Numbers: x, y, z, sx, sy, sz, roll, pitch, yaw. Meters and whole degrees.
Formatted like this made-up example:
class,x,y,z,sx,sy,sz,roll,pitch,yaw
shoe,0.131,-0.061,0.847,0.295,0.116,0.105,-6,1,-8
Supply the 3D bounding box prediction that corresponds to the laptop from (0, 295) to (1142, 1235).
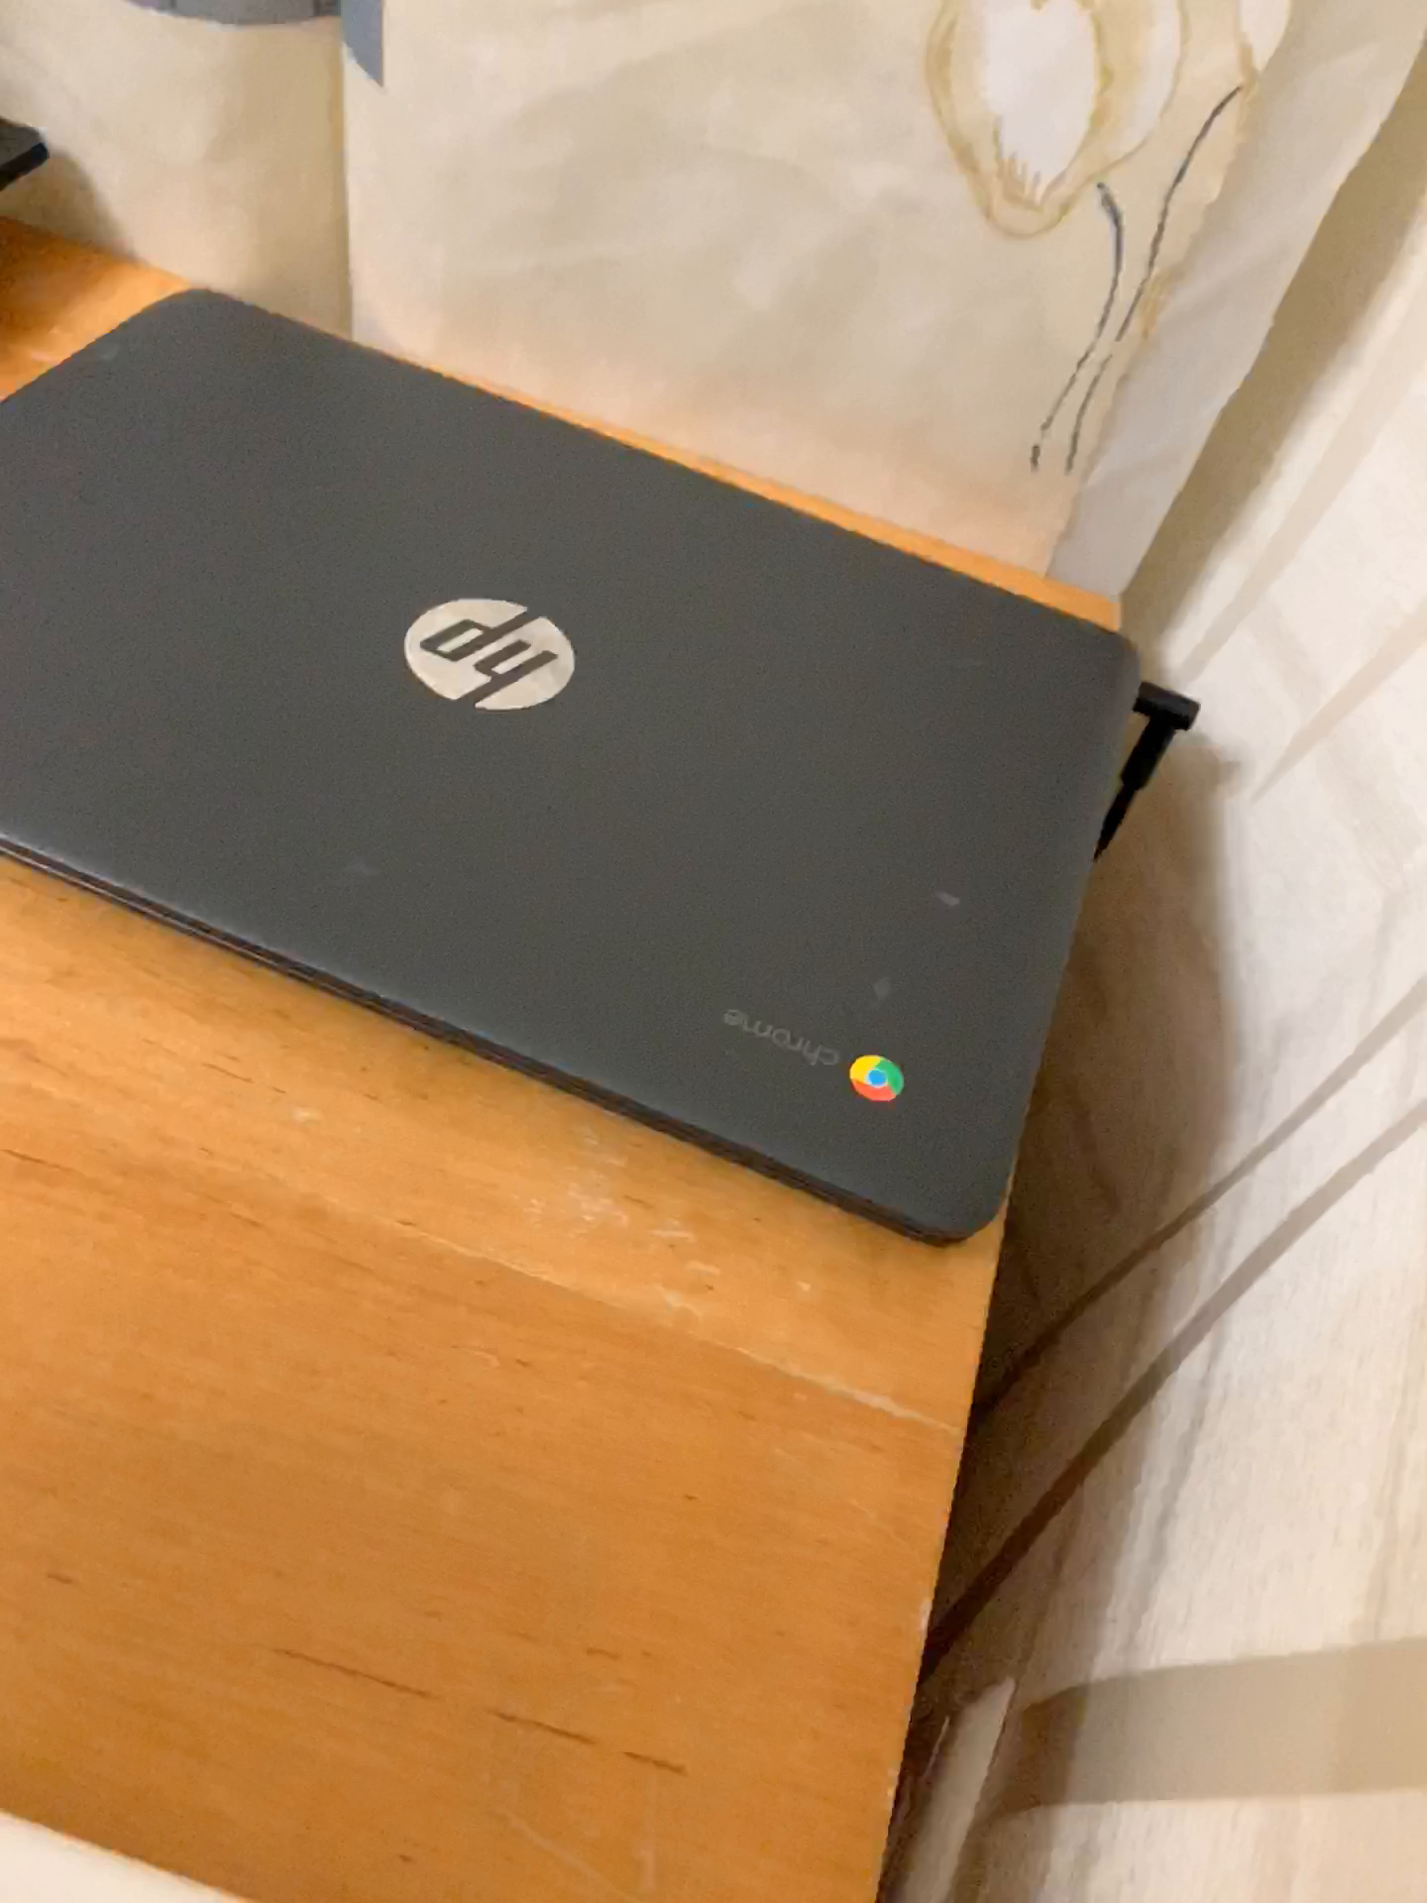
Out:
class,x,y,z,sx,sy,sz,roll,pitch,yaw
laptop,-0.050,-0.068,0.339,0.281,0.002,0.195,22,48,6
